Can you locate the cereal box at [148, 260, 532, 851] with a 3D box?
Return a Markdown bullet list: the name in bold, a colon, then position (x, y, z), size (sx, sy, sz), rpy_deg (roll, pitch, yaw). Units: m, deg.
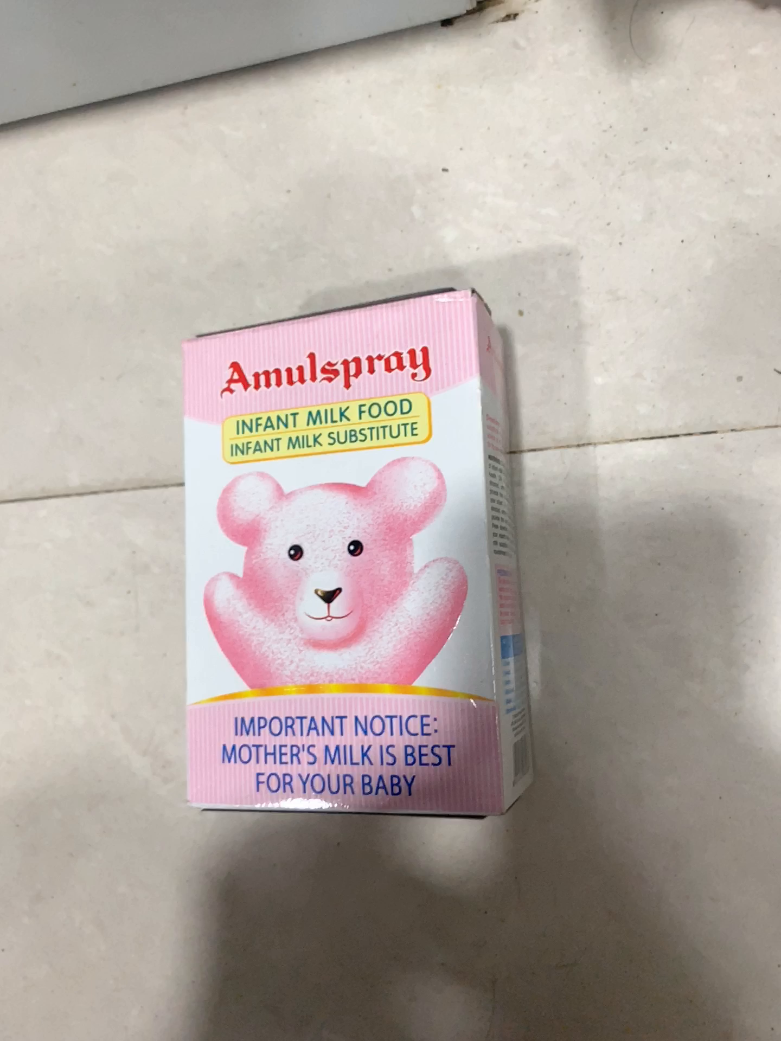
- **cereal box**: position (-0.014, 0.012, 0.229), size (0.090, 0.050, 0.140), rpy_deg (-5, 82, 18)
